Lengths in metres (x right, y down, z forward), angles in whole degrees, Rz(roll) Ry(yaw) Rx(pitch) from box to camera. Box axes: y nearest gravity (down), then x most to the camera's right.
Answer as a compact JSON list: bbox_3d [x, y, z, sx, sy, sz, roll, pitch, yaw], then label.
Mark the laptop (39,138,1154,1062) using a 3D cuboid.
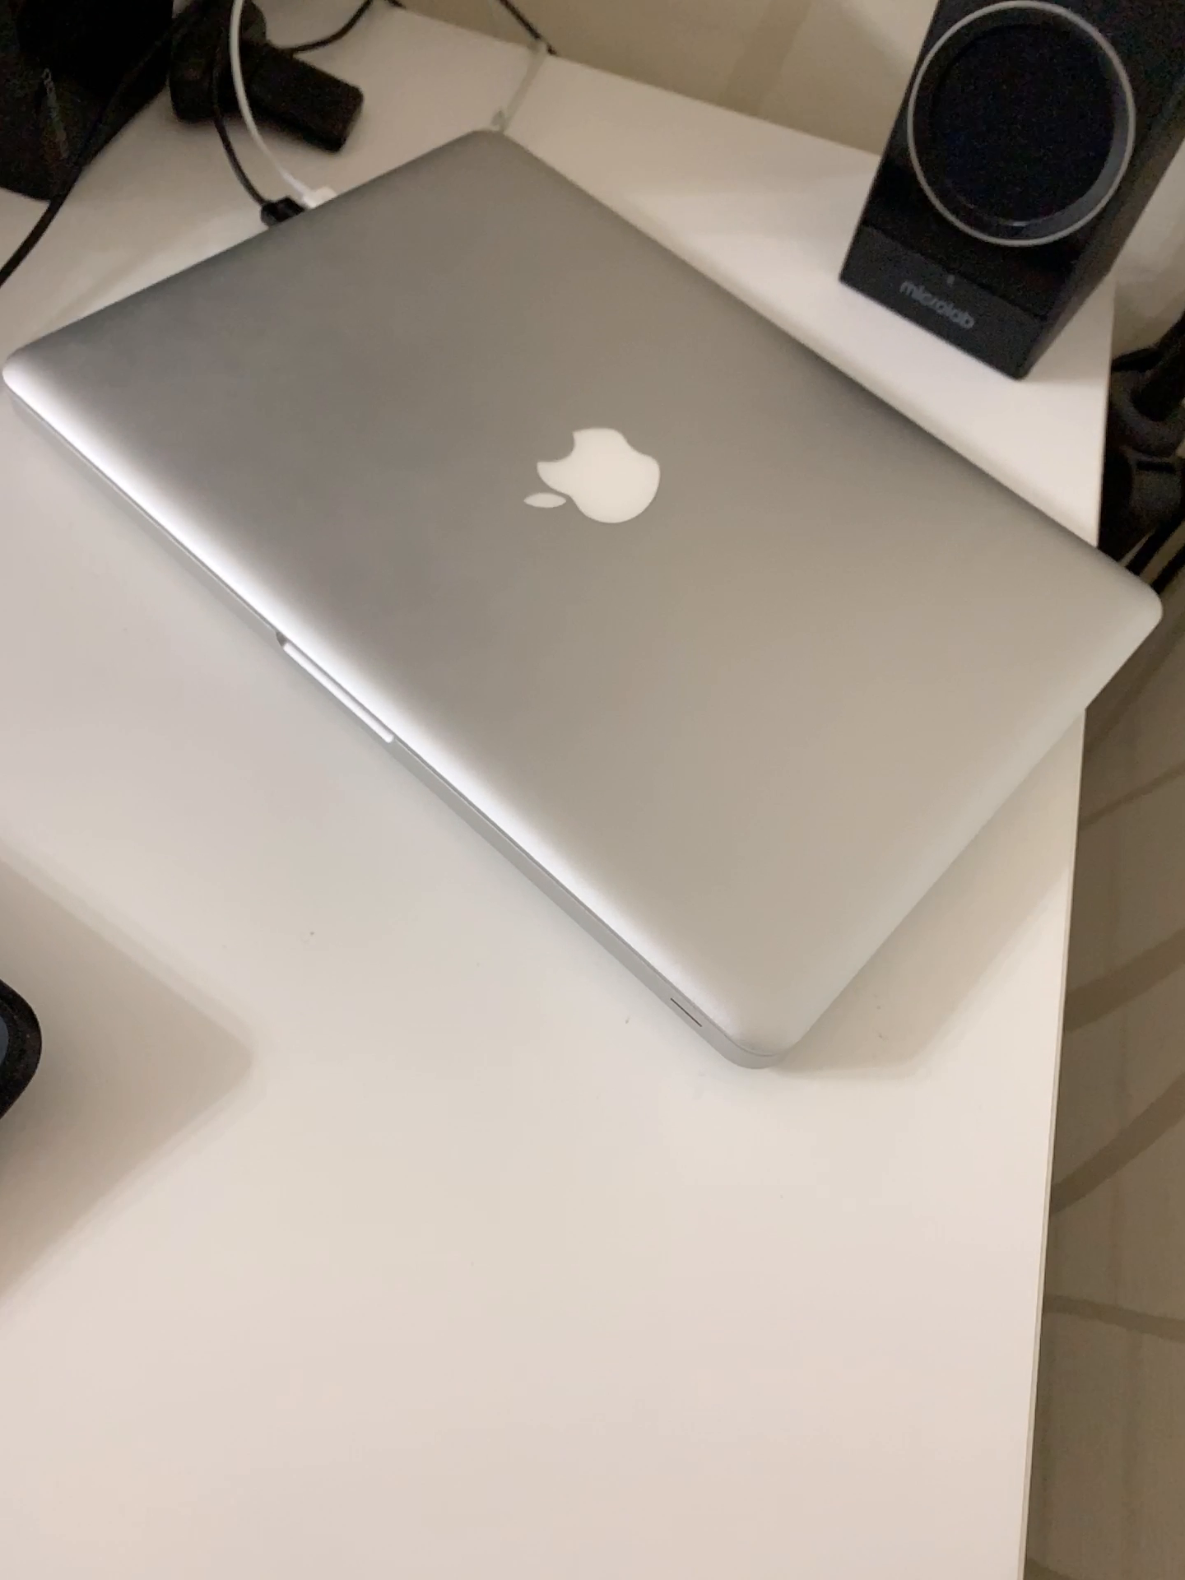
[{"bbox_3d":[0.002,-0.093,0.398,0.305,0.011,0.207,41,63,16],"label":"laptop"}]
